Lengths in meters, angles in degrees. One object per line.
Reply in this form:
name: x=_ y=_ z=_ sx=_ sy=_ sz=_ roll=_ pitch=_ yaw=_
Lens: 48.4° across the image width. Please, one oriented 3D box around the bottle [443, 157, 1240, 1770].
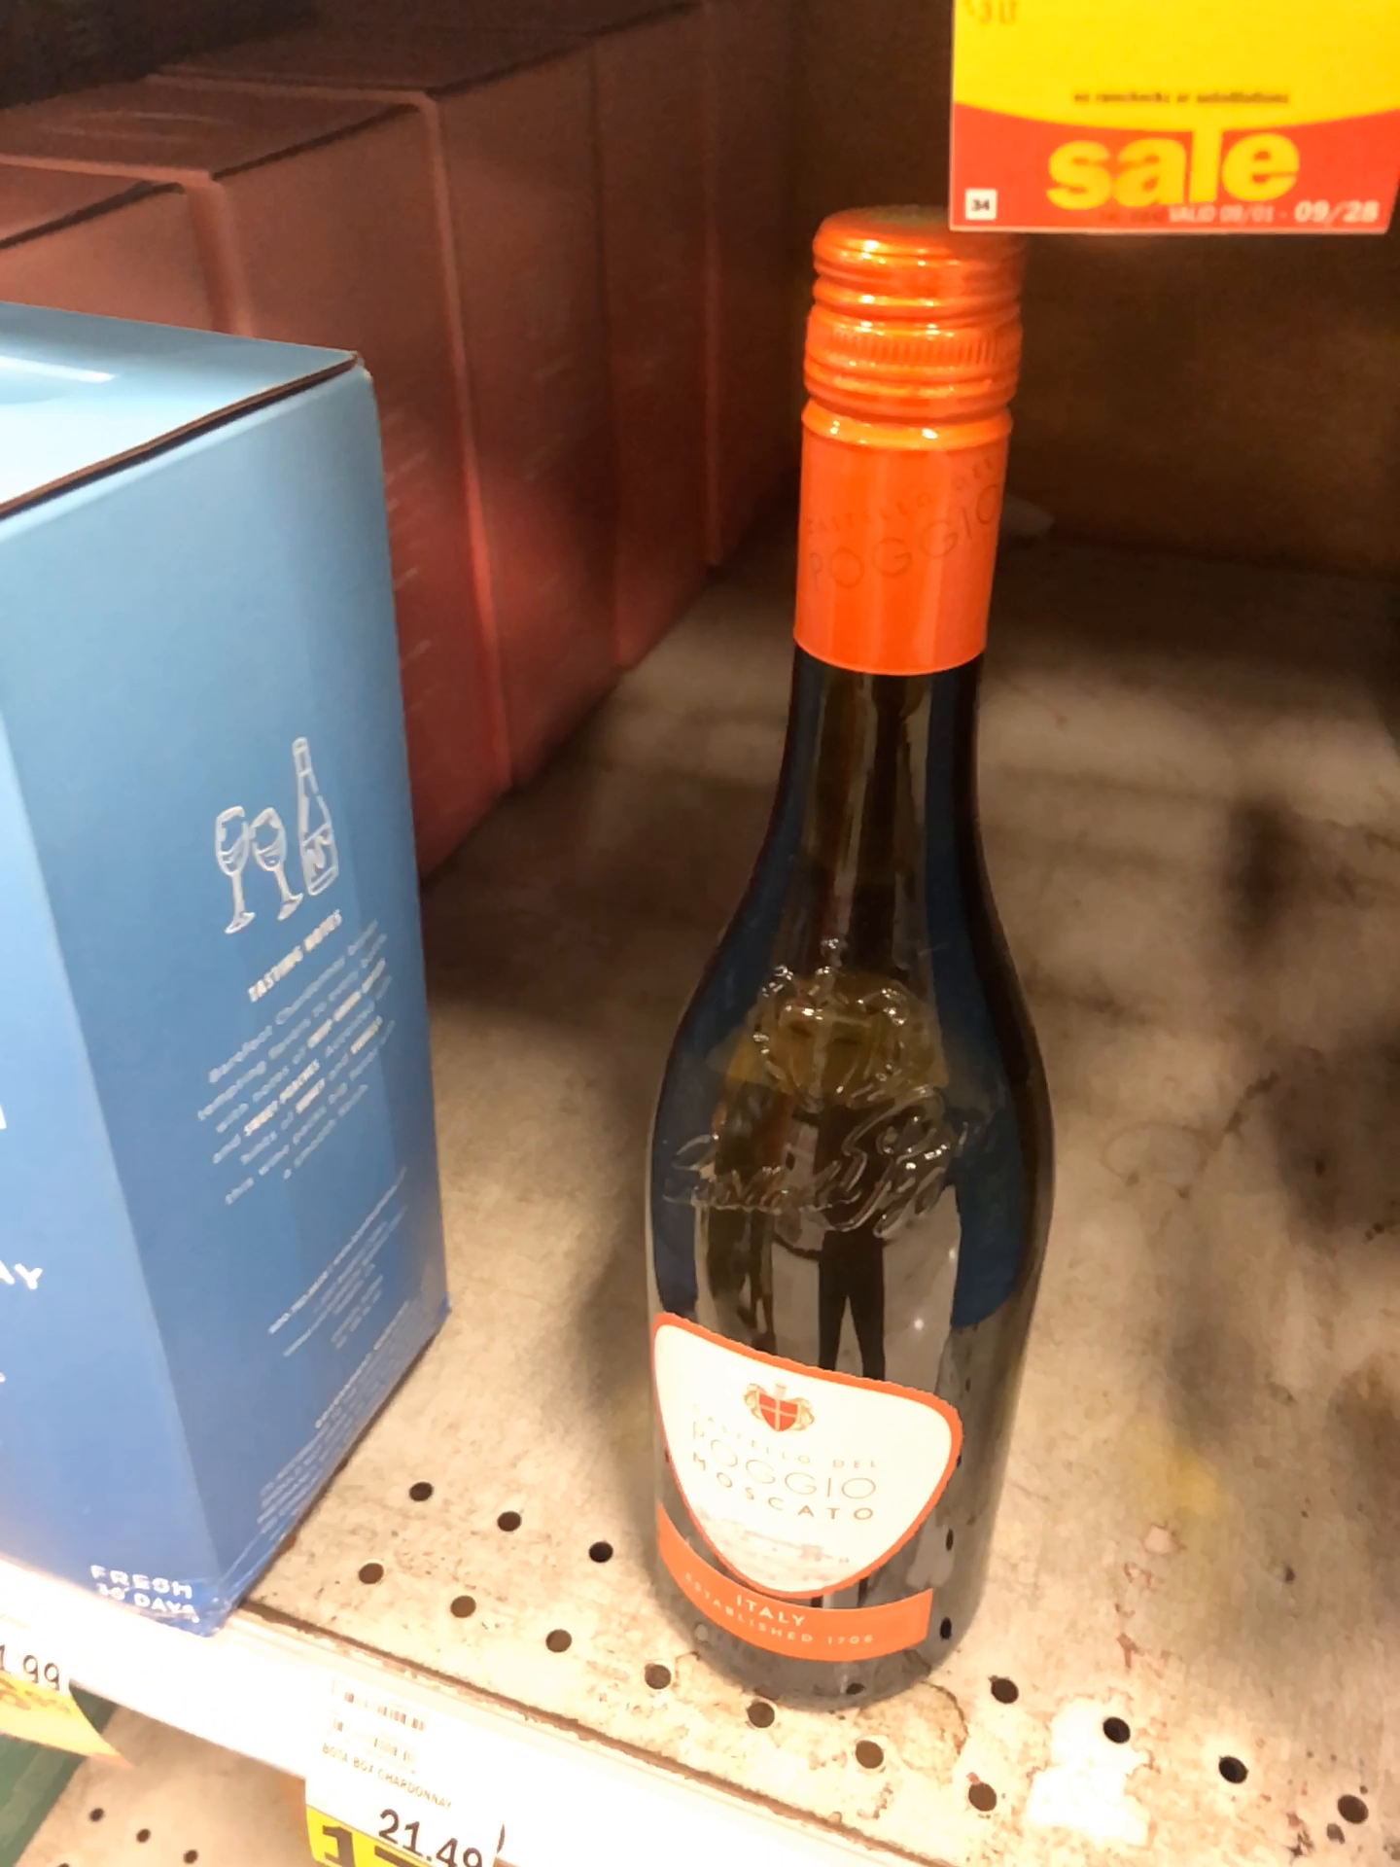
bottle: x=0.025 y=0.034 z=0.278 sx=0.080 sy=0.299 sz=0.070 roll=10 pitch=40 yaw=15
